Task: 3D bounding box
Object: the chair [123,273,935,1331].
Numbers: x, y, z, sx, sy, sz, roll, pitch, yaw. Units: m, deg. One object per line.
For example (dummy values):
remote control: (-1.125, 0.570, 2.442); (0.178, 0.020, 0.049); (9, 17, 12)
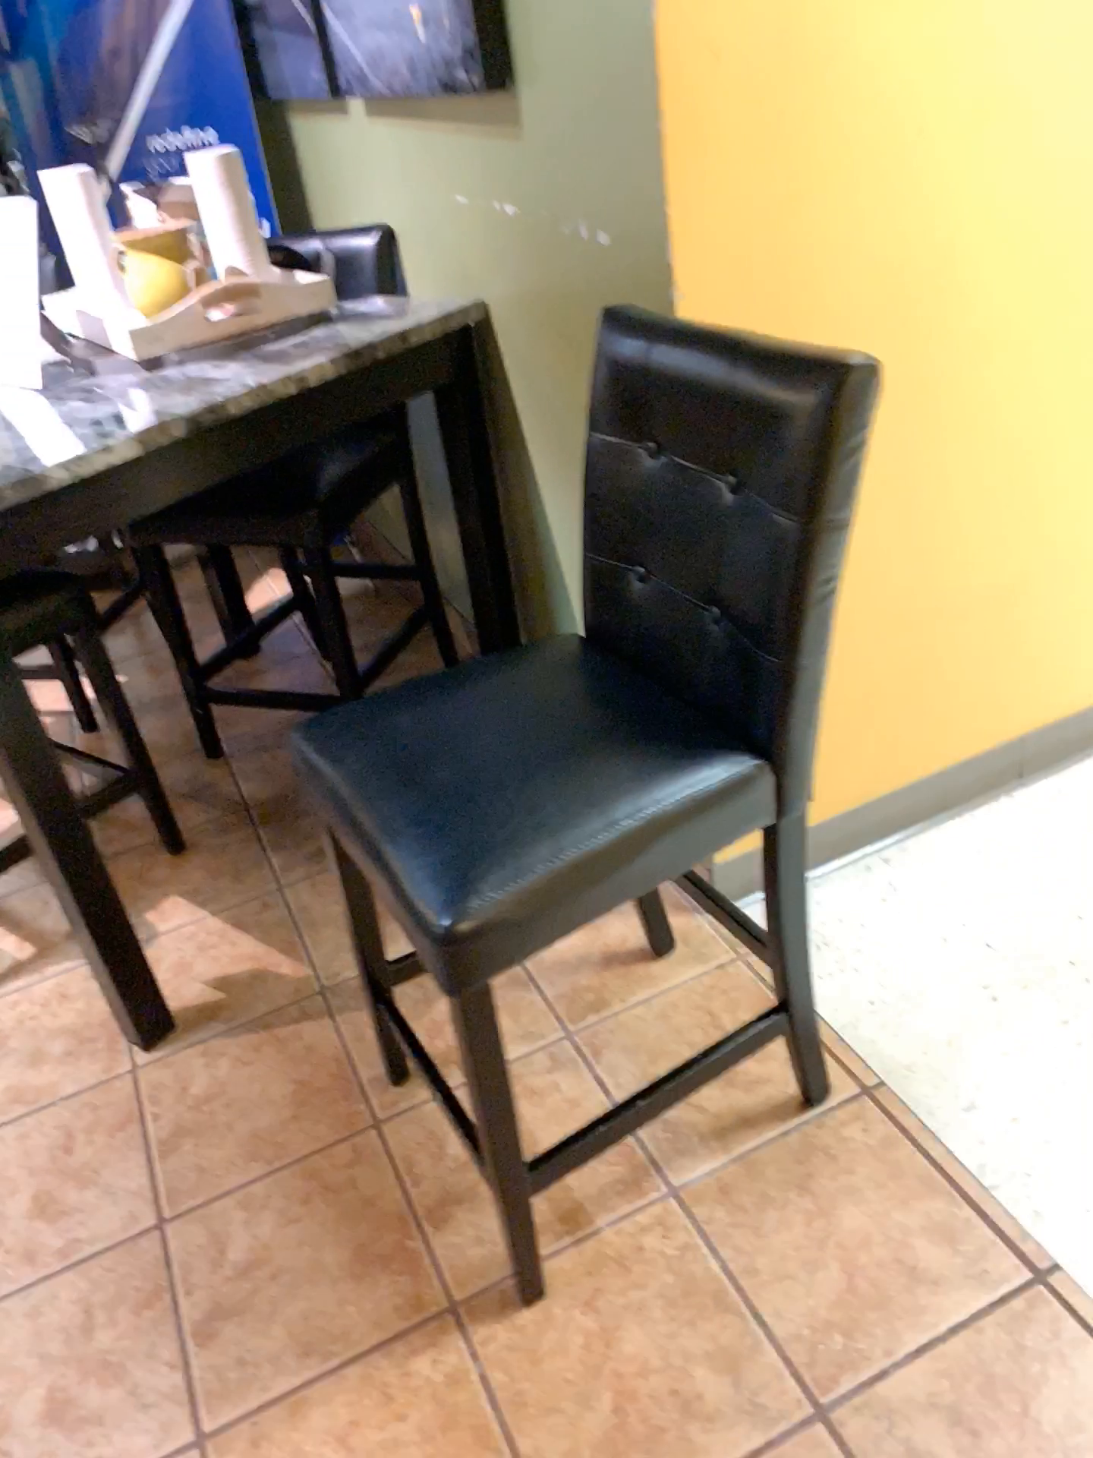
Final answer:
chair: (0.019, 0.060, 1.310); (0.618, 0.961, 0.501); (-23, 34, -21)
